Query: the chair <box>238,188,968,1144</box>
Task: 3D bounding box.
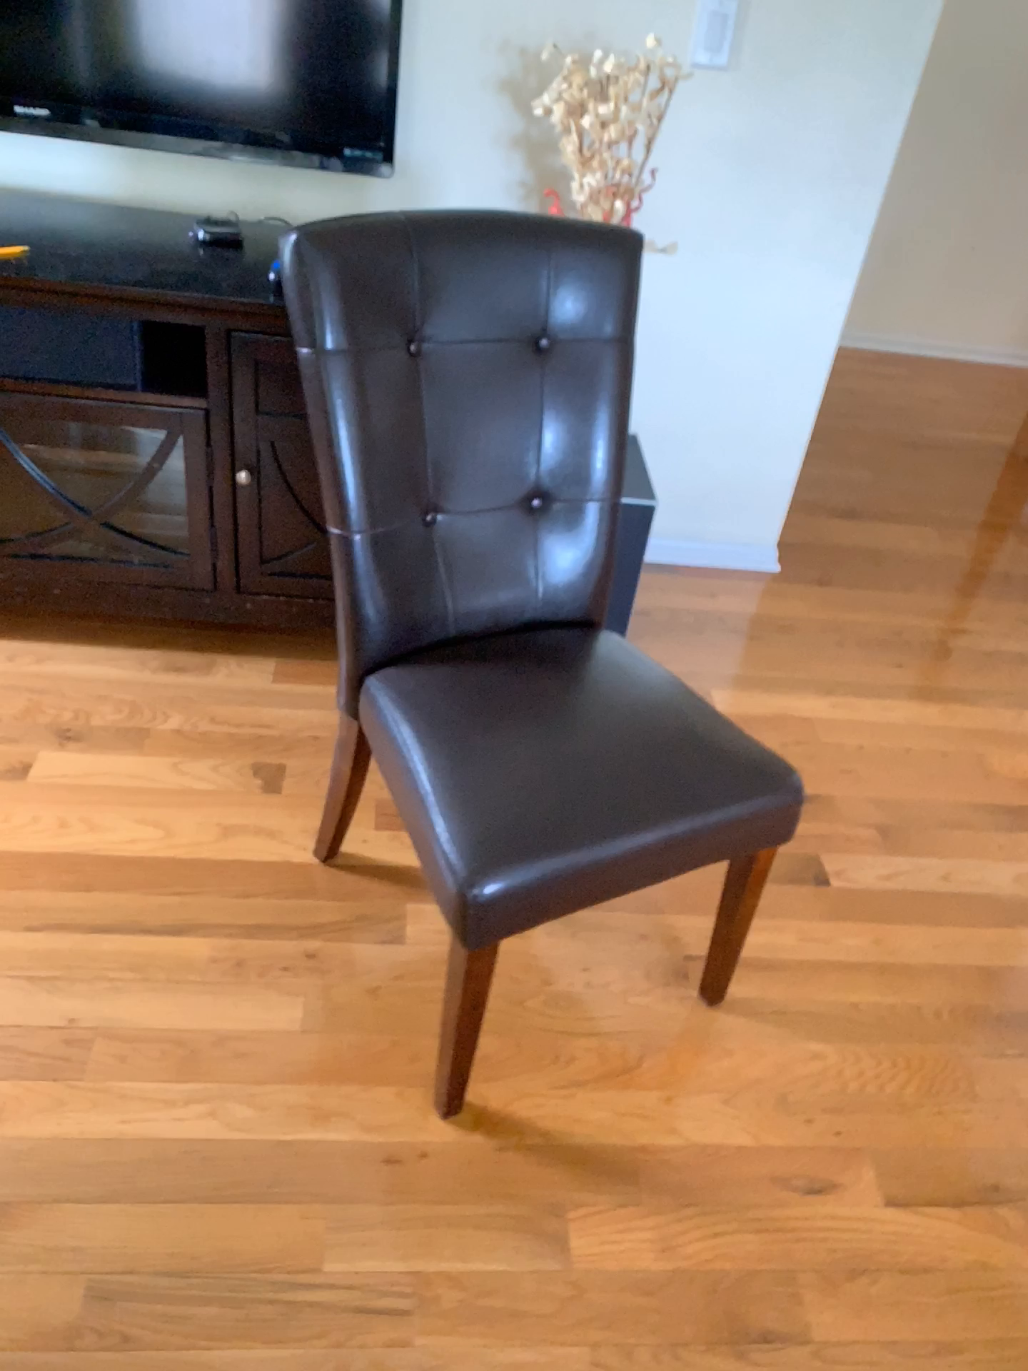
[{"bbox_3d":[-0.009,-0.054,1.422,0.499,0.968,0.705,-12,41,-27],"label":"chair"}]
